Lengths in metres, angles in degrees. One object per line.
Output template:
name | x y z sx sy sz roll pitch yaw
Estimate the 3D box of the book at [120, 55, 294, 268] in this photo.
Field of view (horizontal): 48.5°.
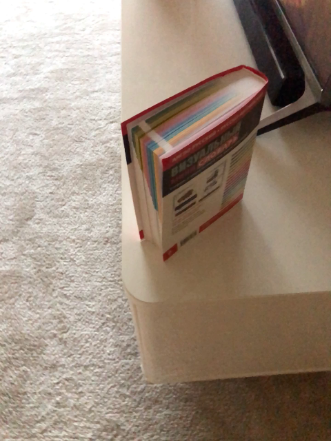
book | 0.038 -0.053 0.392 0.150 0.179 0.060 -34 63 -22
